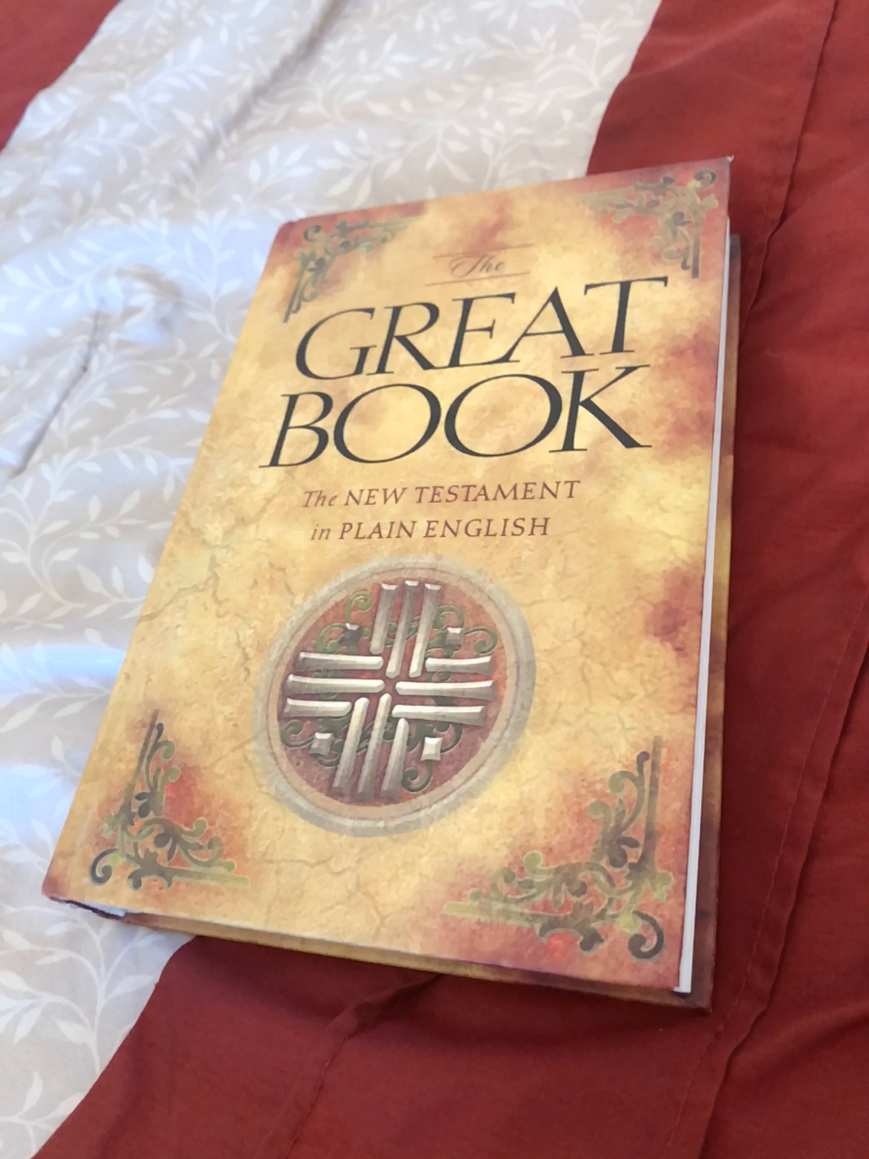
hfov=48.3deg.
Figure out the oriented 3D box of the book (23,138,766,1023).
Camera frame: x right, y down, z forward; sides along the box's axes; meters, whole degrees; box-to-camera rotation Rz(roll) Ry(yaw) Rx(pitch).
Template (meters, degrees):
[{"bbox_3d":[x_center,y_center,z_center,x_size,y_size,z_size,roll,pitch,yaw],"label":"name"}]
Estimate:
[{"bbox_3d":[0.002,-0.014,0.265,0.161,0.040,0.221,-1,62,23],"label":"book"}]
